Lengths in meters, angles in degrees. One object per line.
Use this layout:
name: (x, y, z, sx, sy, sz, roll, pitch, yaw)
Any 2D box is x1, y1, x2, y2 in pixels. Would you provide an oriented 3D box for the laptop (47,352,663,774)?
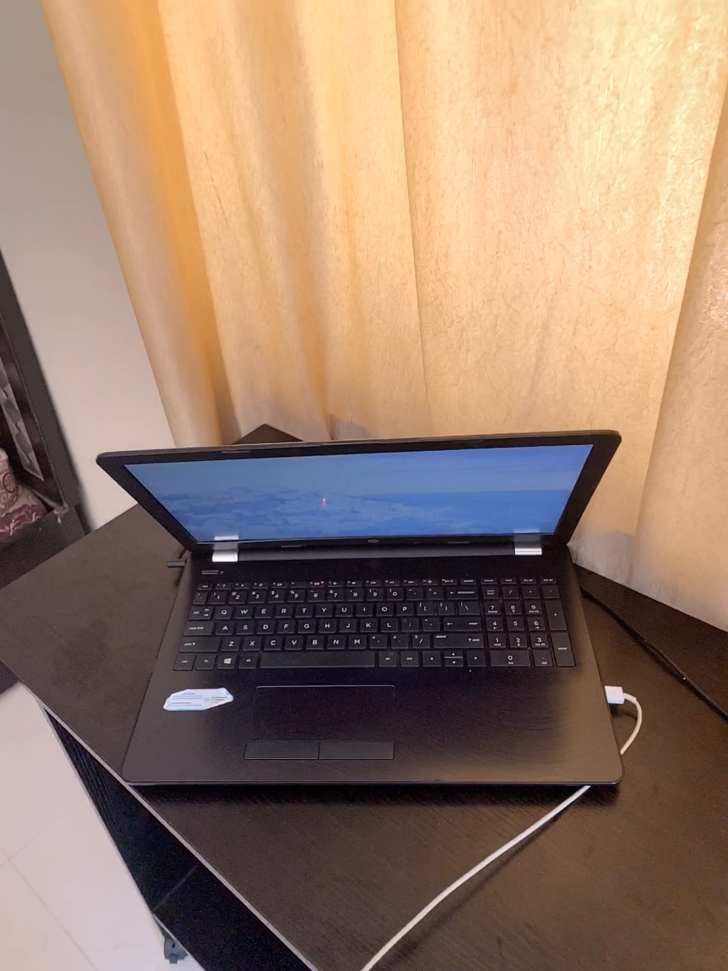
laptop: (-0.001, 0.055, 0.586, 0.362, 0.201, 0.239, -2, 38, 7)
